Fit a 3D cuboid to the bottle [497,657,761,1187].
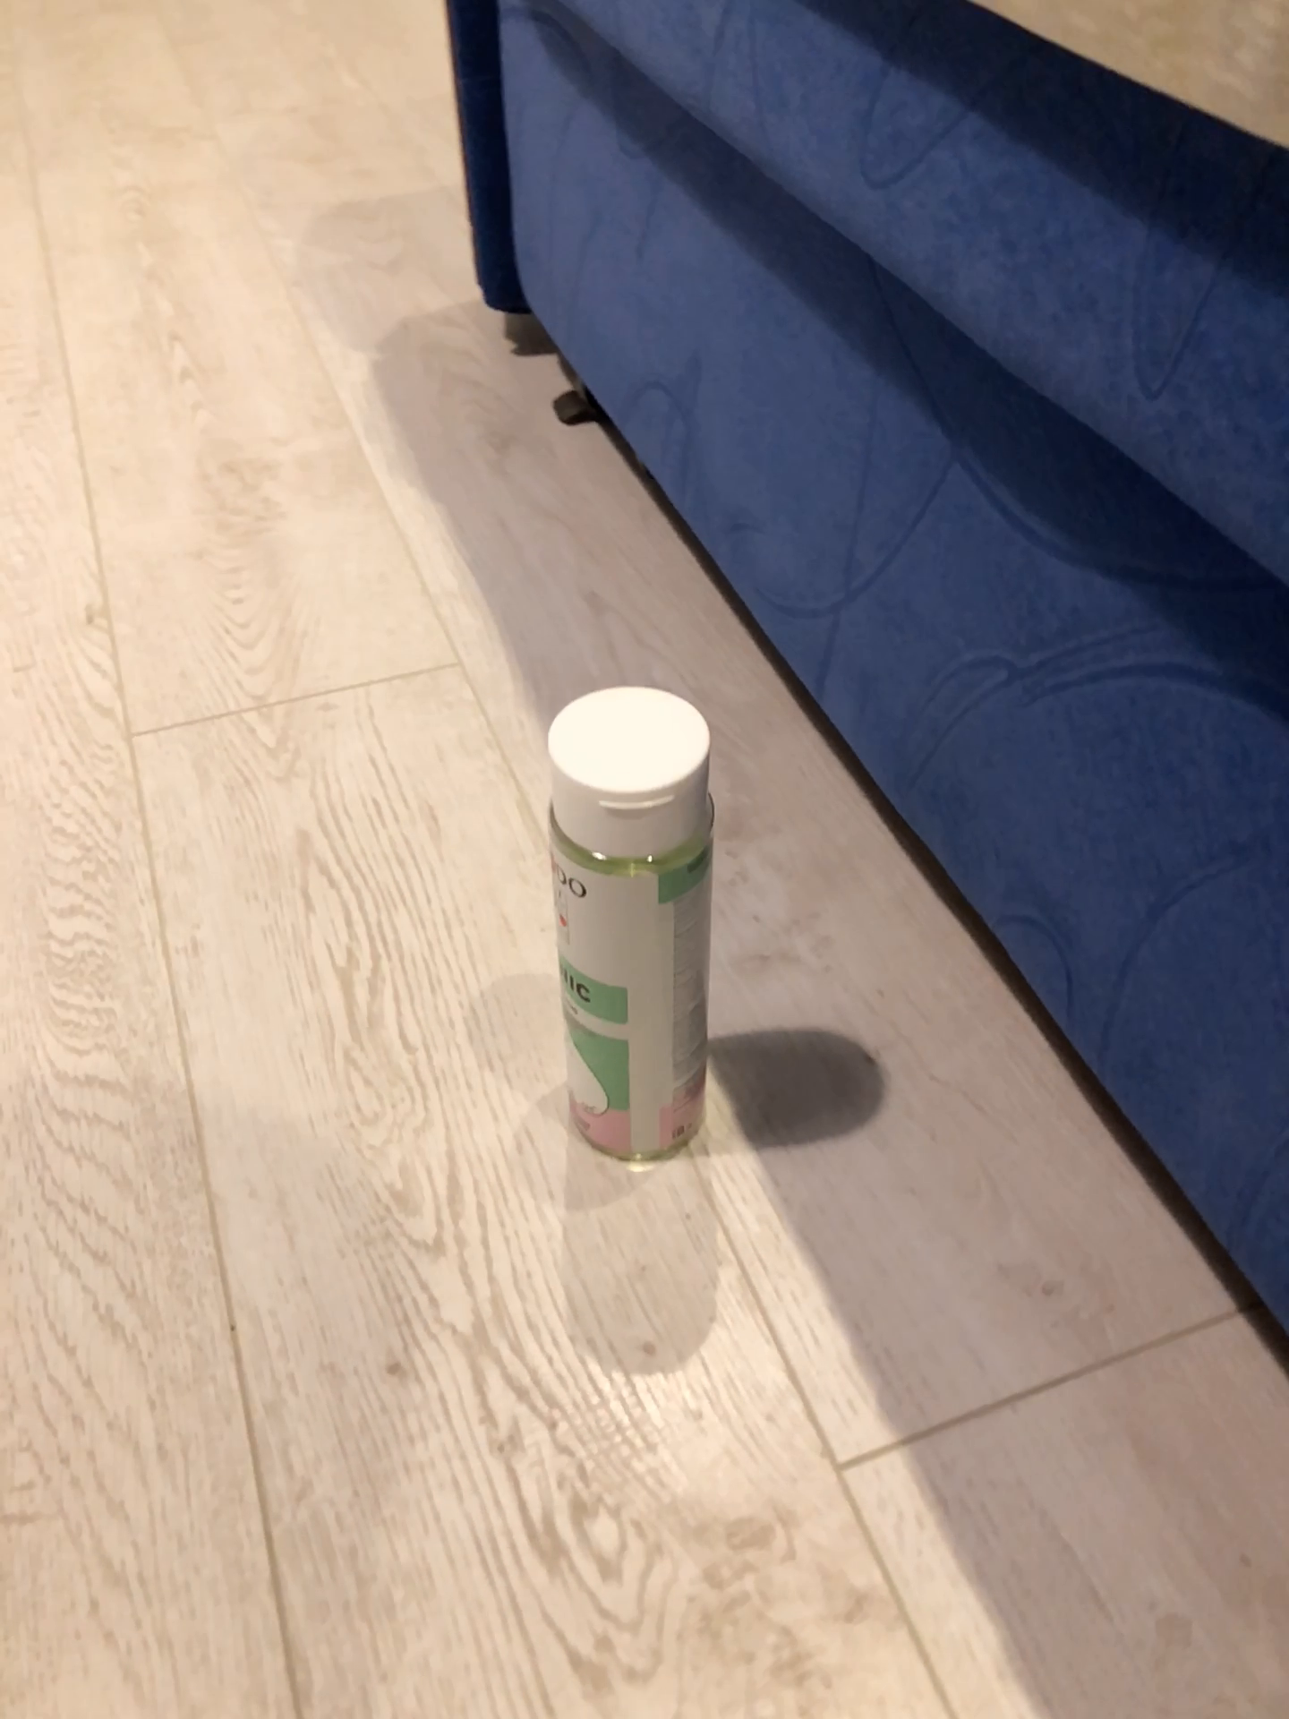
[{"bbox_3d":[-0.005,0.025,0.441,0.053,0.160,0.057,0,44,0],"label":"bottle"}]
